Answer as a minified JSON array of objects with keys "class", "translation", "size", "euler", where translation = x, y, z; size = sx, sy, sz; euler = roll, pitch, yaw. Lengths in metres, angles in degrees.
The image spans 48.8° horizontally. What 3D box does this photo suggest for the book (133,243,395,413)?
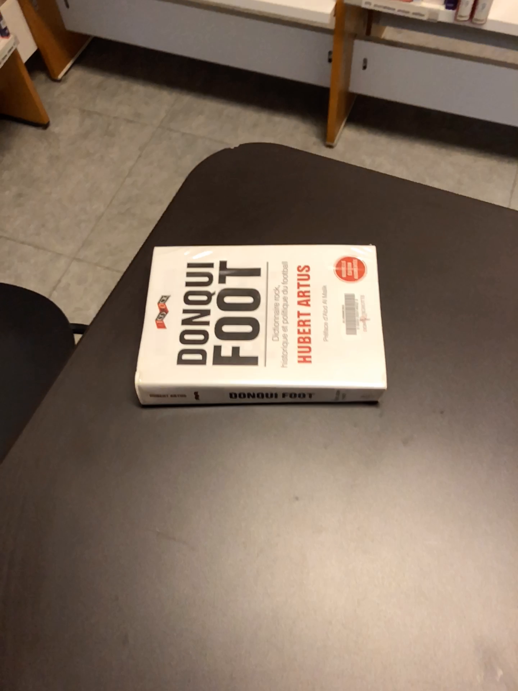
[{"class":"book","translation":[0.005,-0.018,0.504],"size":[0.207,0.042,0.148],"euler":[0,62,2]}]
